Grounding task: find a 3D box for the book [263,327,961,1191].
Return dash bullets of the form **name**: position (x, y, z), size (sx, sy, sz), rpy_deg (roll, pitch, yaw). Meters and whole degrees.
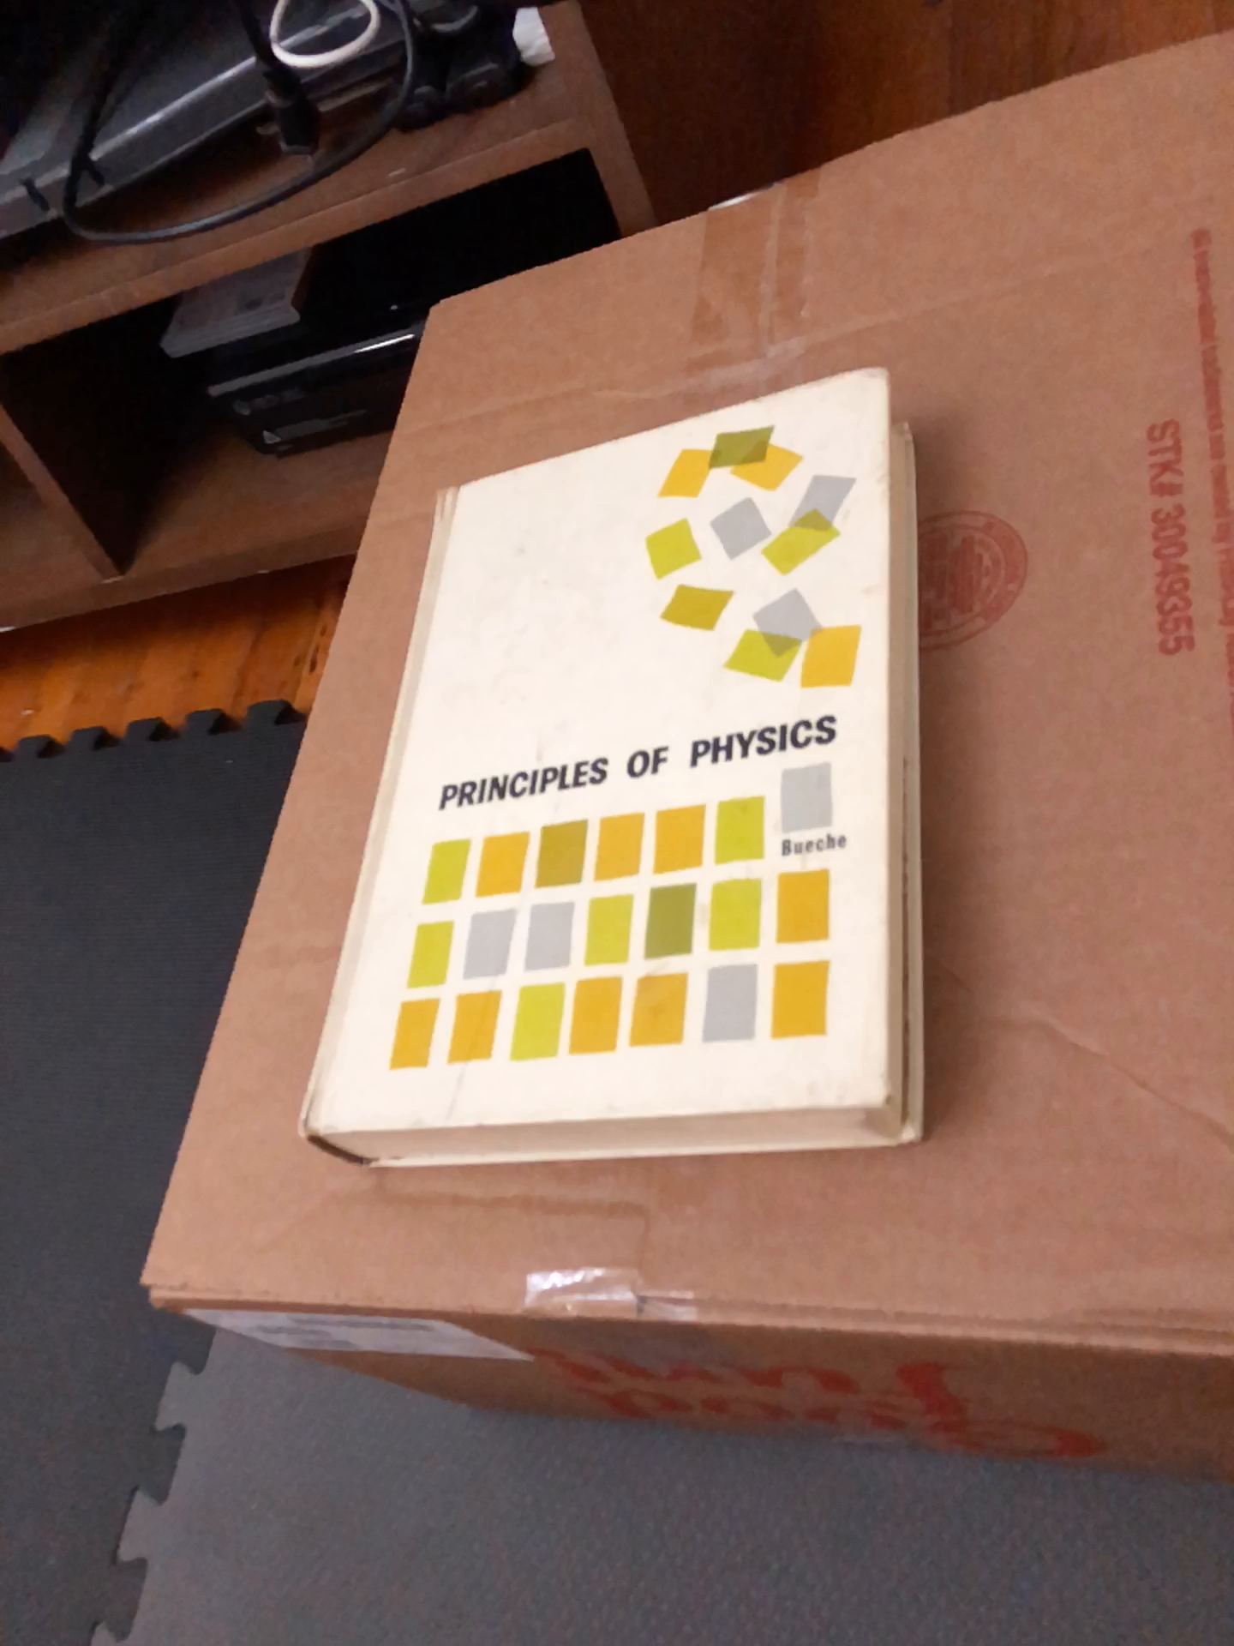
- **book**: position (0.007, -0.021, 0.404), size (0.180, 0.040, 0.251), rpy_deg (-9, 57, 26)
